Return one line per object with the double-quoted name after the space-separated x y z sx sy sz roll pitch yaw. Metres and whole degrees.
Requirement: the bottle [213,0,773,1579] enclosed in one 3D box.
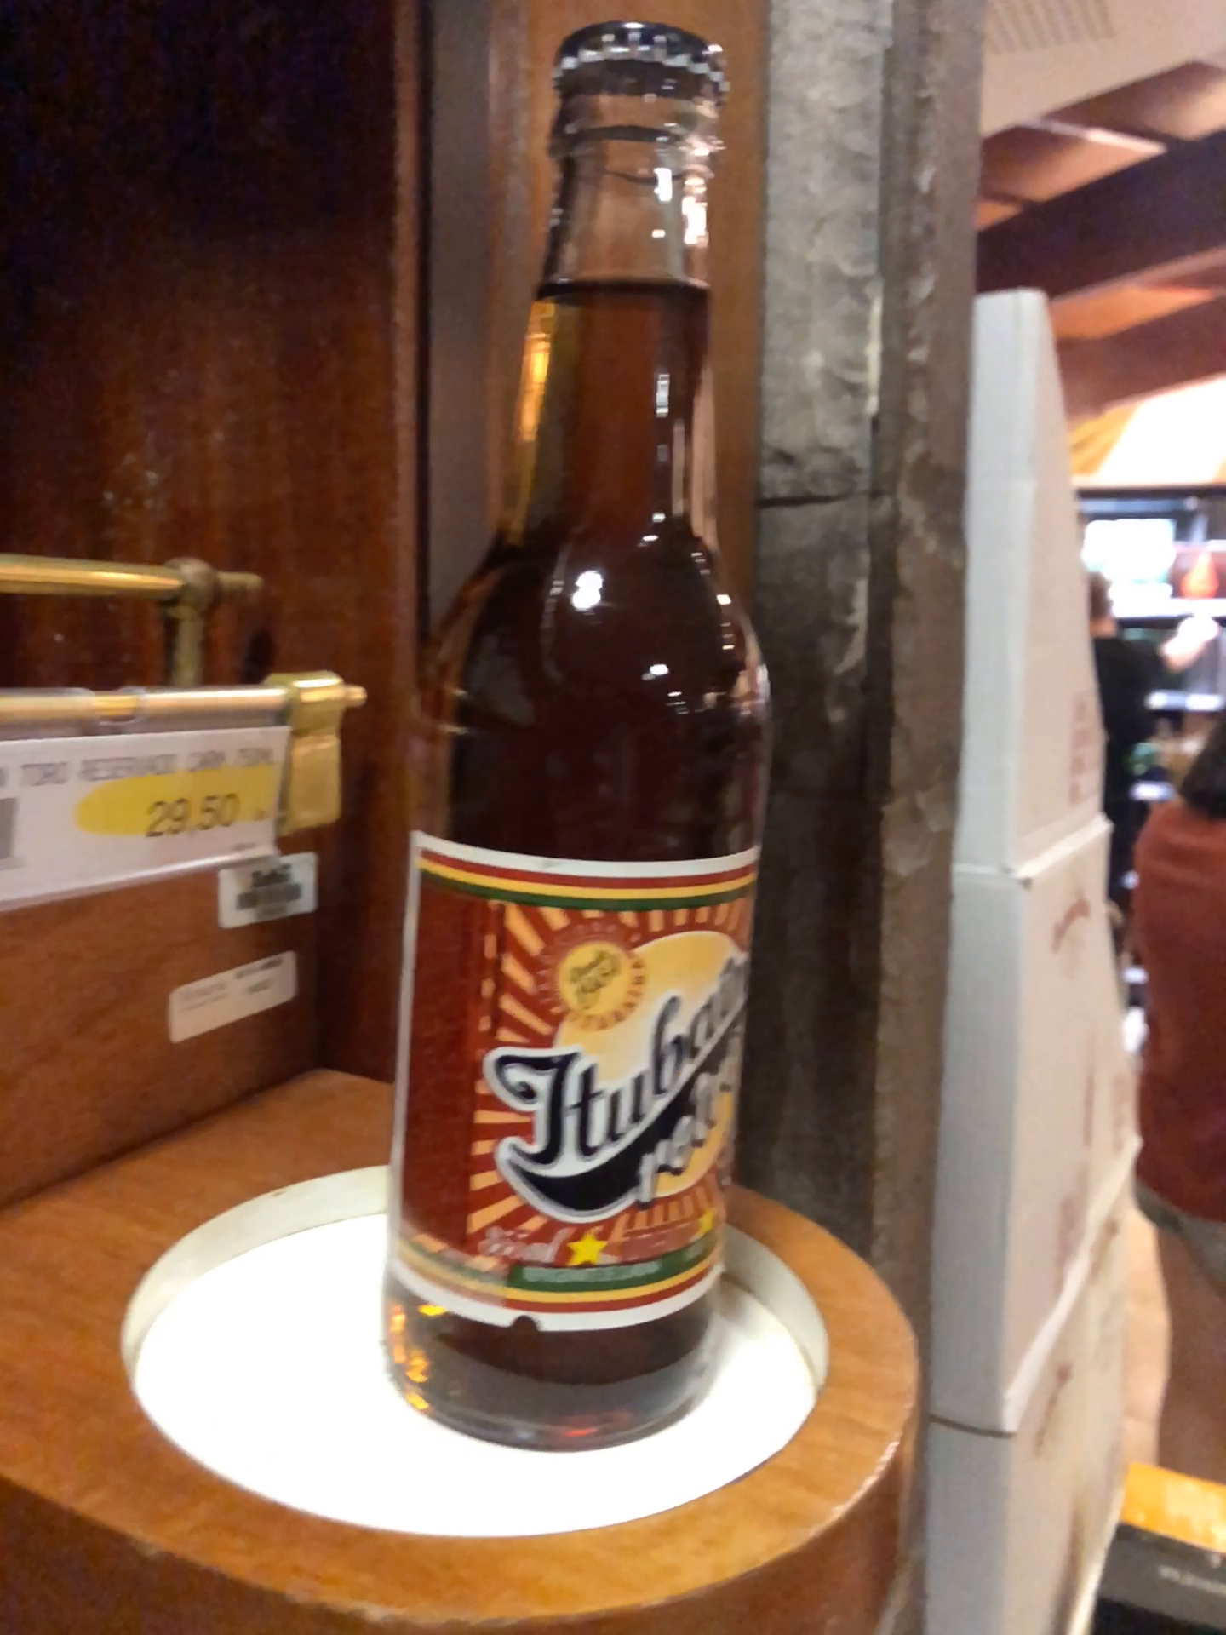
-0.022 -0.008 0.255 0.070 0.249 0.070 1 6 0 "bottle"
